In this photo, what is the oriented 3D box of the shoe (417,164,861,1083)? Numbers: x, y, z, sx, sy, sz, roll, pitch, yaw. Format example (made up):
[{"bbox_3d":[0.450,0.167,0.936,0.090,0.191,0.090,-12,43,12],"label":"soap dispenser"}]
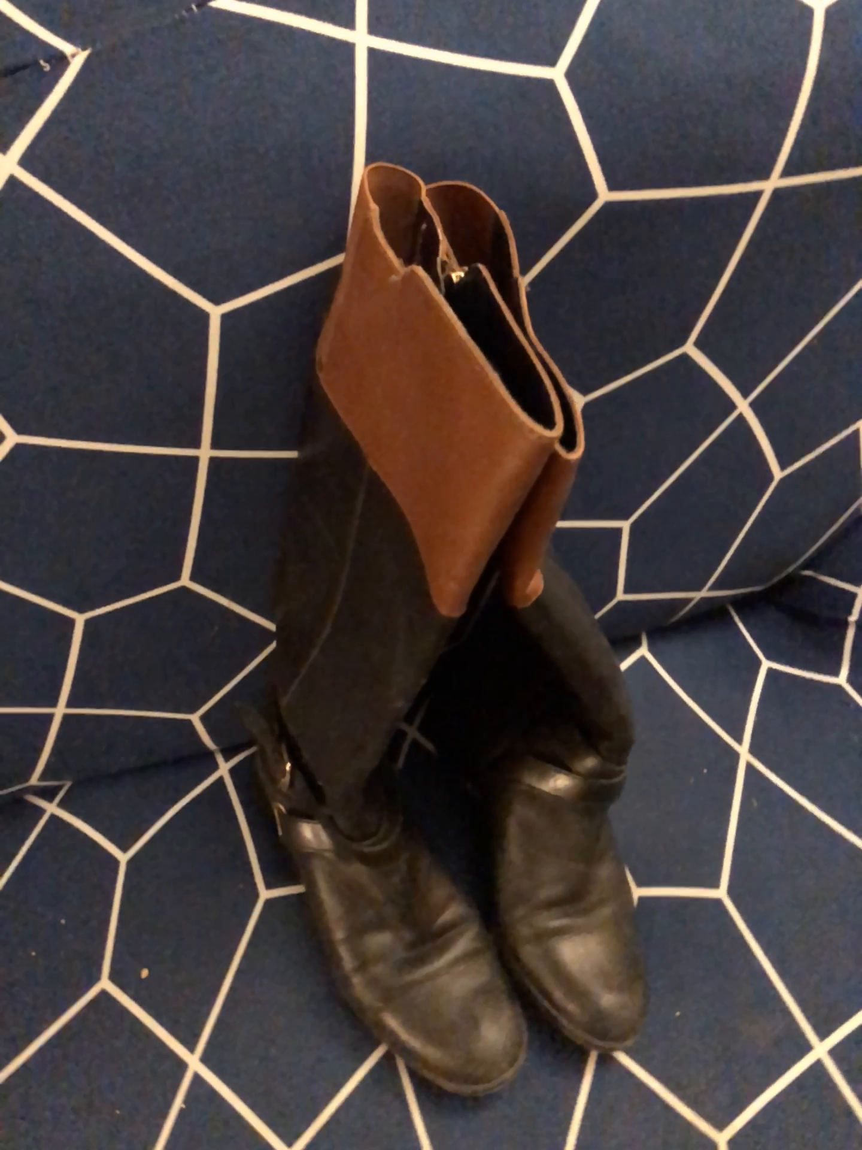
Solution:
[{"bbox_3d":[0.069,0.063,0.432,0.100,0.379,0.251,-8,58,-7],"label":"shoe"}]

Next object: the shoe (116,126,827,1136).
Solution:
[{"bbox_3d":[-0.023,0.074,0.445,0.110,0.428,0.271,-15,57,-14],"label":"shoe"}]
